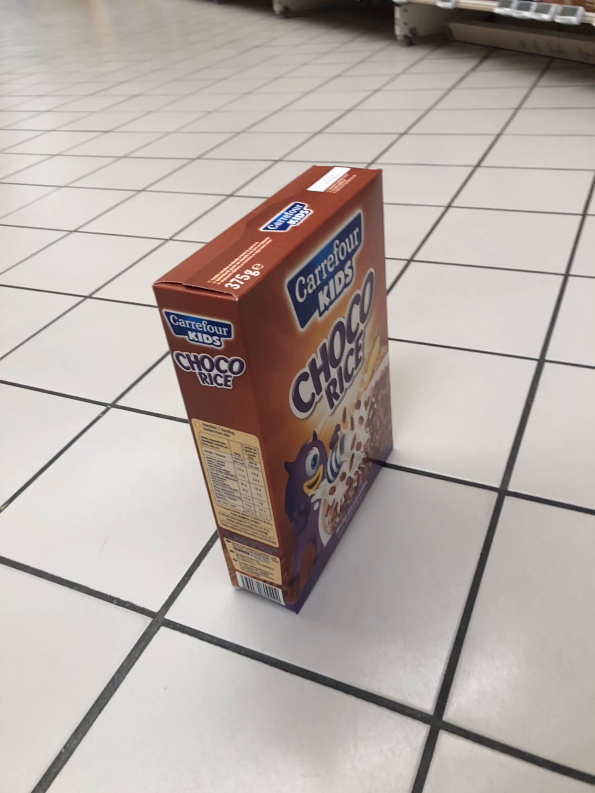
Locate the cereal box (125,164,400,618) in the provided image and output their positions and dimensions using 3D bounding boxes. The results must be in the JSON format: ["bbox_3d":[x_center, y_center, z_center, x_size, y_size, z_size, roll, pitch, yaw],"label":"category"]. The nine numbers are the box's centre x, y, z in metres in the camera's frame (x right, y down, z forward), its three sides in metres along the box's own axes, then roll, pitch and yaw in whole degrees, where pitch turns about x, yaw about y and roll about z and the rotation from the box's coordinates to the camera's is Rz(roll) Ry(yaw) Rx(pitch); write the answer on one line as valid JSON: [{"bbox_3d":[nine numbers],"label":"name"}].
[{"bbox_3d":[0.002,-0.009,0.460,0.070,0.239,0.201,12,40,26],"label":"cereal box"}]
